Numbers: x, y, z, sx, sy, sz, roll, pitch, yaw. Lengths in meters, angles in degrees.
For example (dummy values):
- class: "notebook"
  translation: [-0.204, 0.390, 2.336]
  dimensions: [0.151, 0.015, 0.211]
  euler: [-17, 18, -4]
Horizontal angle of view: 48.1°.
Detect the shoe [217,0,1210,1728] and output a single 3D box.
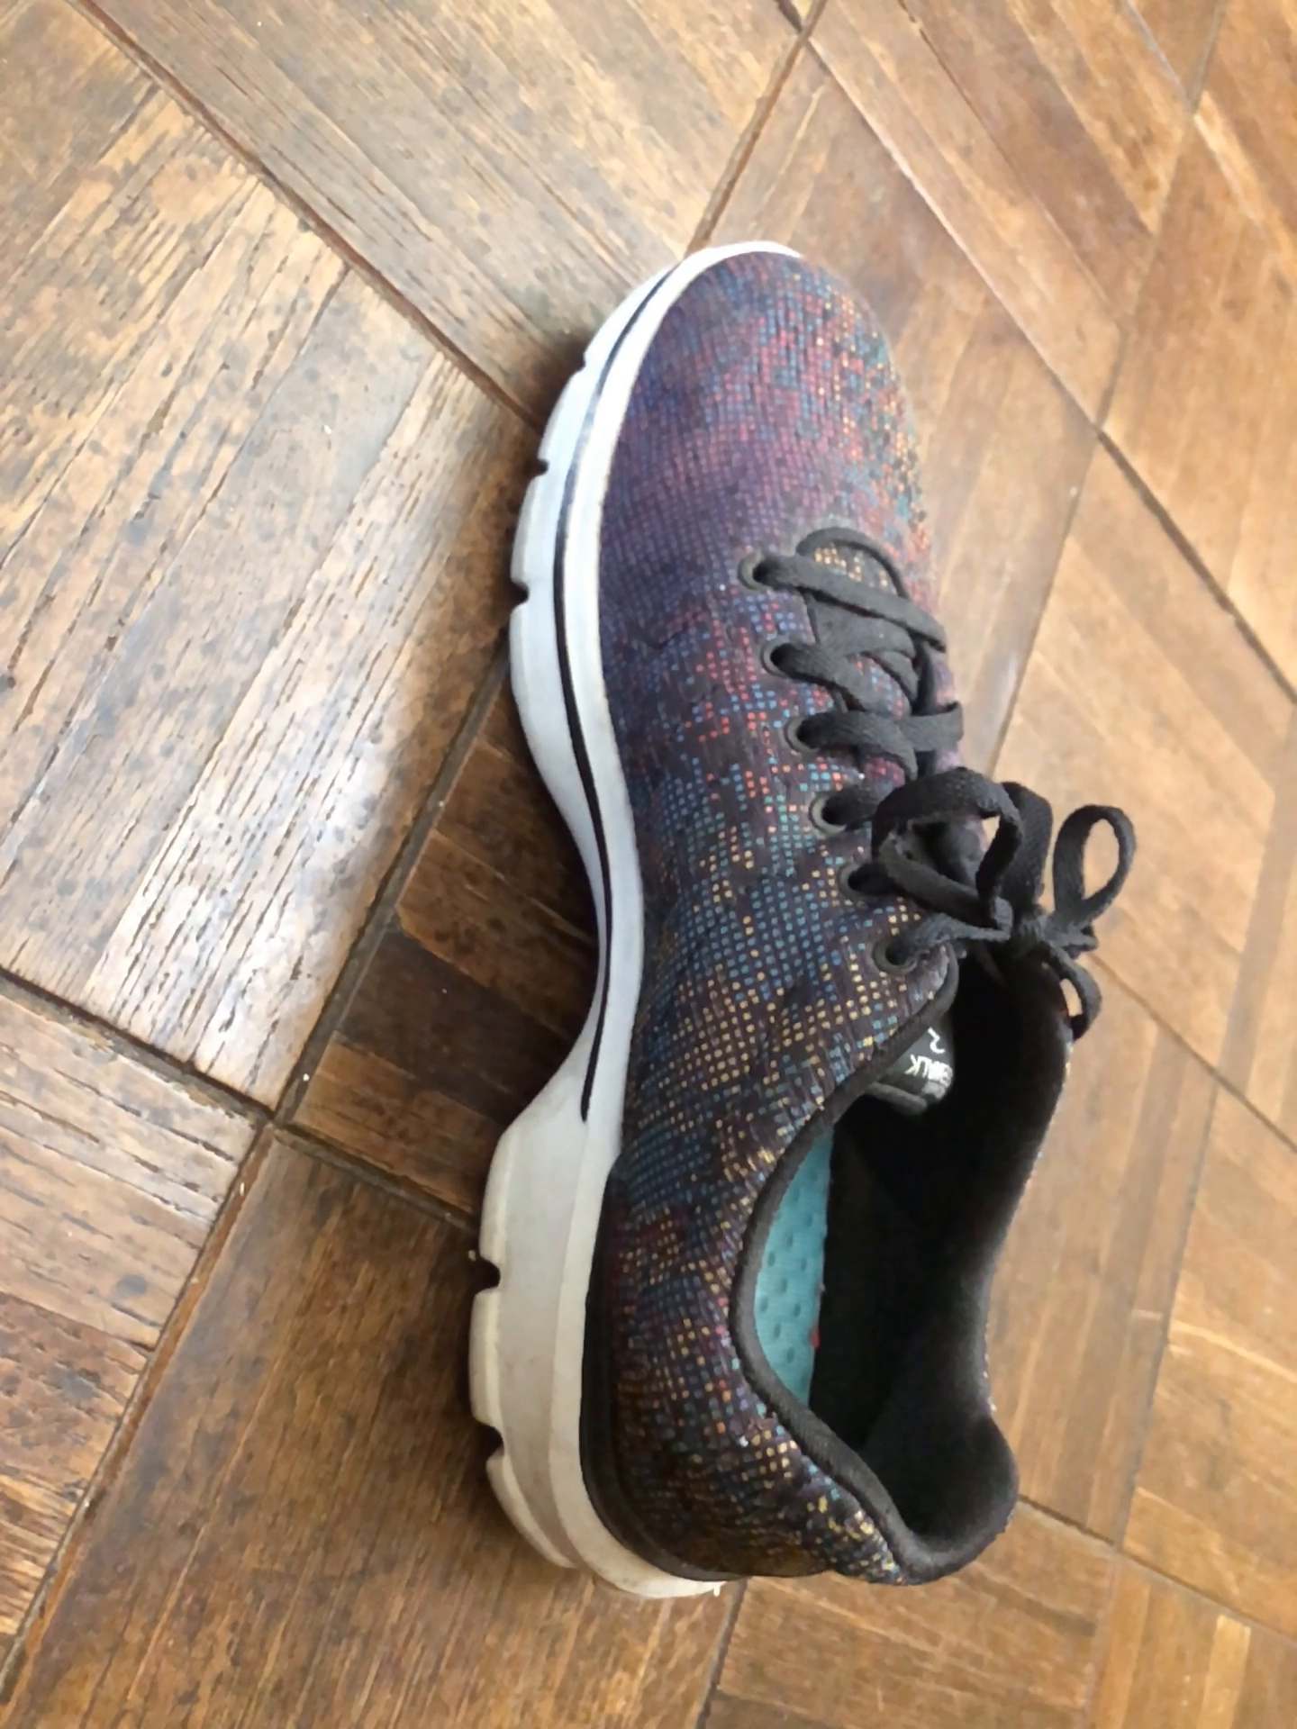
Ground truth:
- class: "shoe"
  translation: [0.019, 0.000, 0.280]
  dimensions: [0.111, 0.119, 0.290]
  euler: [16, 76, -39]
